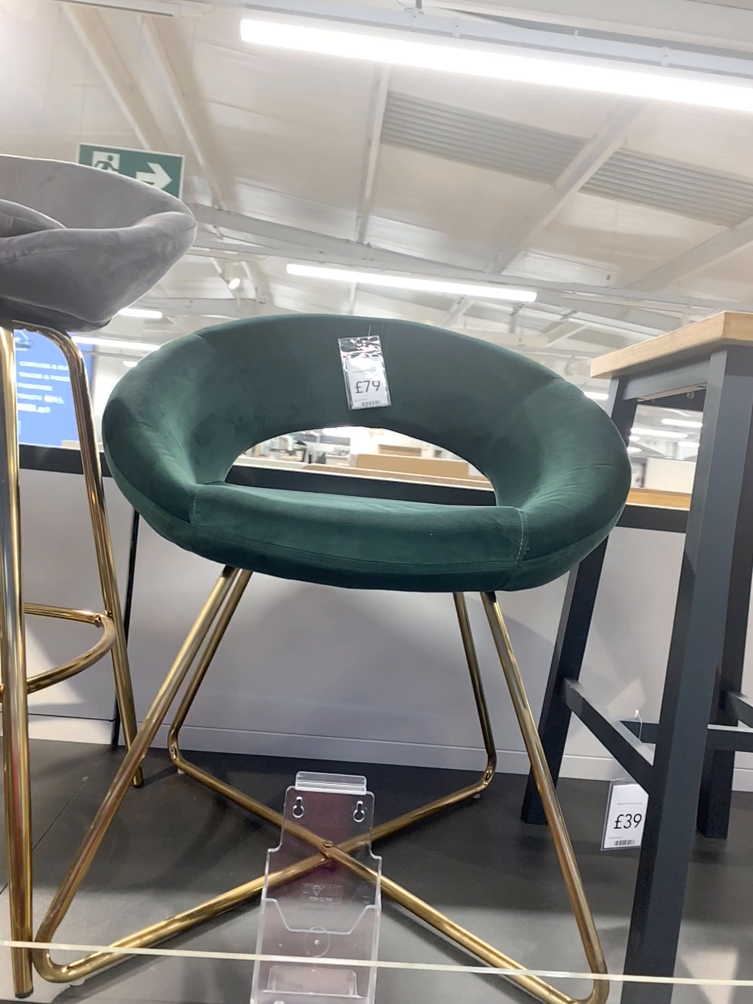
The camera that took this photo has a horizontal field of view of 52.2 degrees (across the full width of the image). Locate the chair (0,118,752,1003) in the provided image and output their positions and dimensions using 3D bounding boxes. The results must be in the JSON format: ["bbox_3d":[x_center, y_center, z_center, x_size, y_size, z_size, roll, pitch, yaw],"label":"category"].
[{"bbox_3d":[-0.016,0.060,0.962,0.634,0.700,0.669,6,2,-3],"label":"chair"}]
